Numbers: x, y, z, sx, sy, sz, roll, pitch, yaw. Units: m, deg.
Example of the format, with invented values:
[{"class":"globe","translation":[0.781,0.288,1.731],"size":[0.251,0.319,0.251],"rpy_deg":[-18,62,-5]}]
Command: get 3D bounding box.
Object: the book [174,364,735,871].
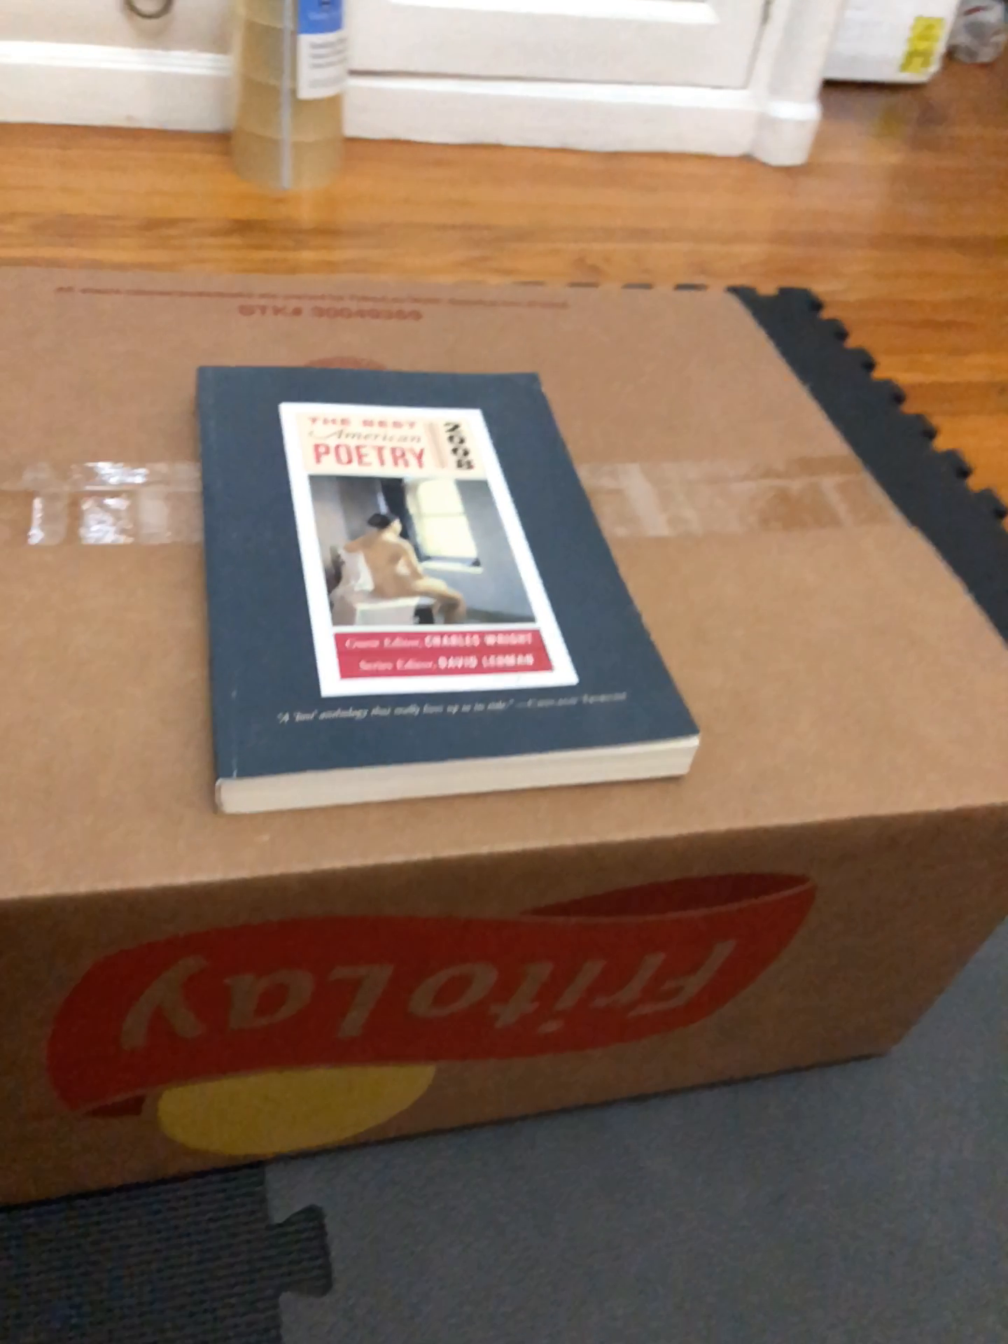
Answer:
[{"class":"book","translation":[-0.033,-0.040,0.390],"size":[0.150,0.020,0.231],"rpy_deg":[-4,45,-15]}]
